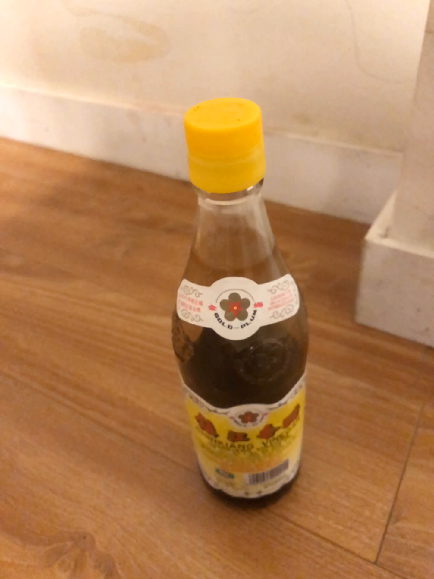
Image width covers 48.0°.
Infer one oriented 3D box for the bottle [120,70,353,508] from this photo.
[{"bbox_3d":[0.014,0.022,0.248,0.070,0.228,0.070,-3,41,3],"label":"bottle"}]
